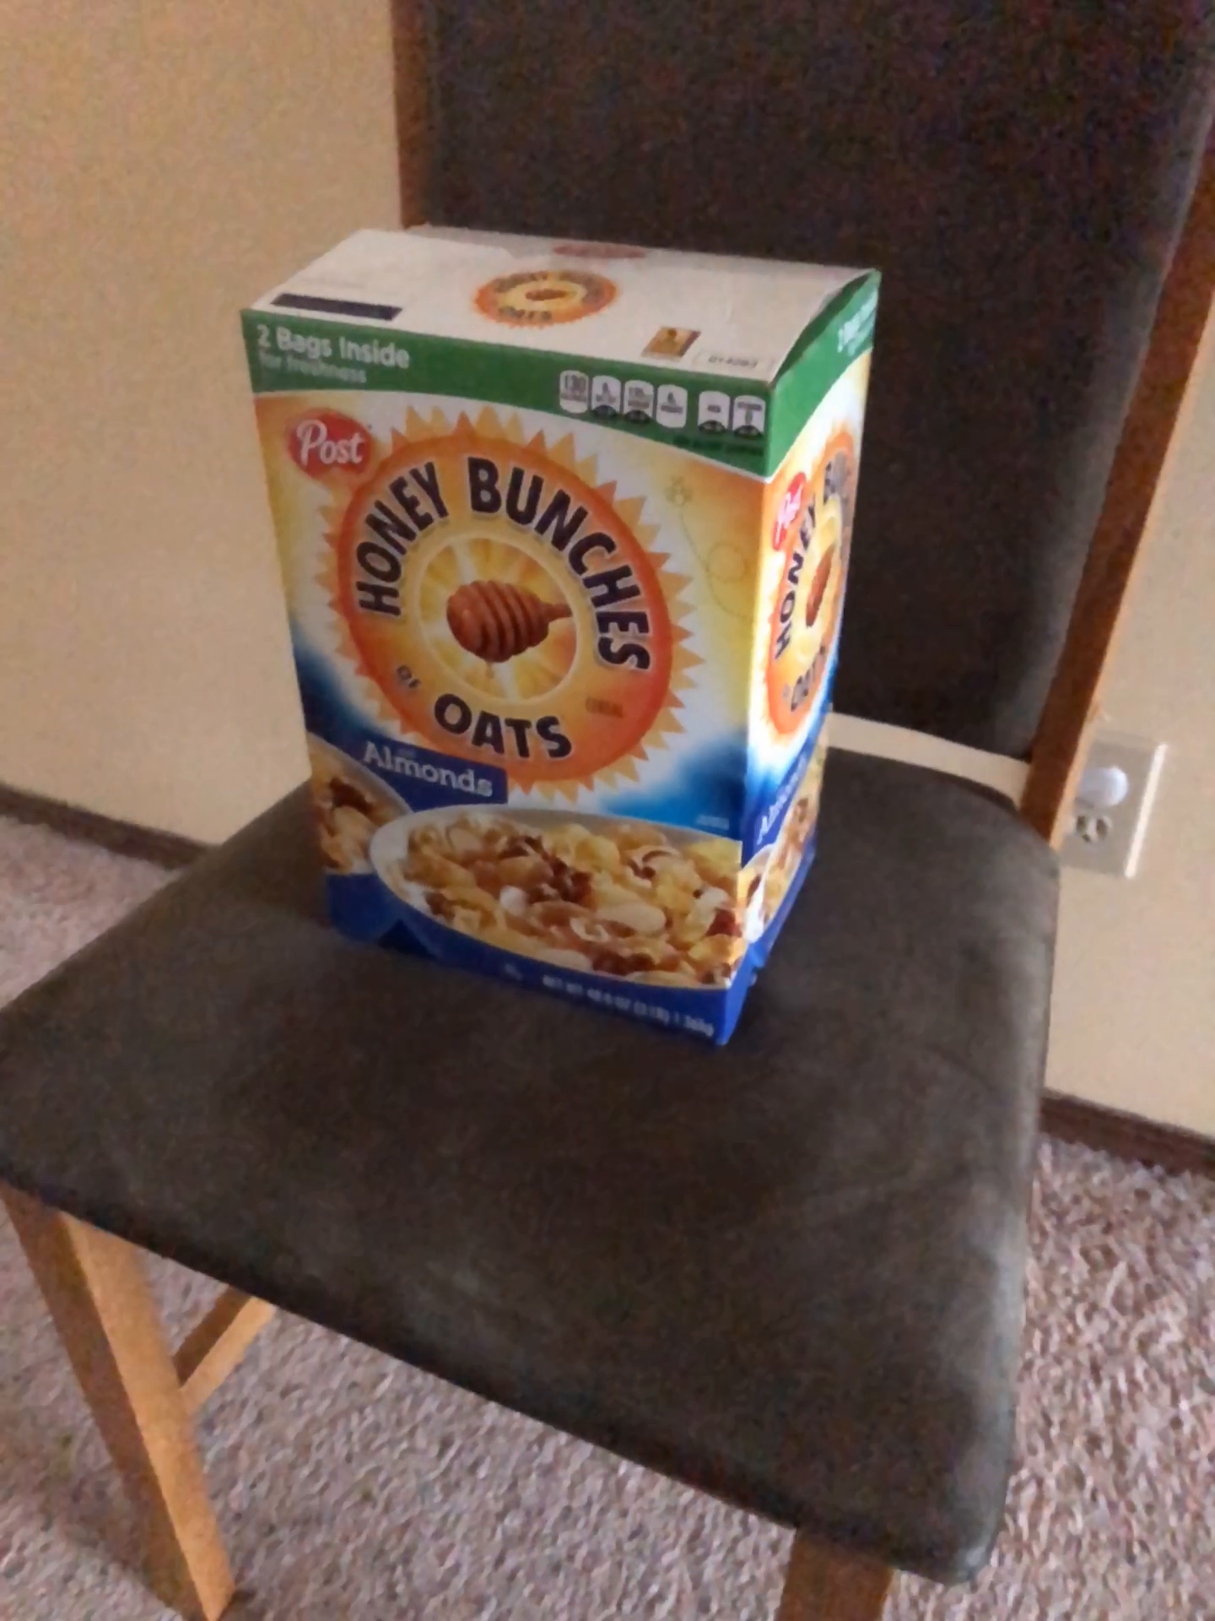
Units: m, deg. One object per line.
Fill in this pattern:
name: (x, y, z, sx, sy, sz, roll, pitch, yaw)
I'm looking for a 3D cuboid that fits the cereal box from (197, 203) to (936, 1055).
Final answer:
cereal box: (-0.008, -0.082, 0.566, 0.220, 0.279, 0.160, 14, 37, 20)
